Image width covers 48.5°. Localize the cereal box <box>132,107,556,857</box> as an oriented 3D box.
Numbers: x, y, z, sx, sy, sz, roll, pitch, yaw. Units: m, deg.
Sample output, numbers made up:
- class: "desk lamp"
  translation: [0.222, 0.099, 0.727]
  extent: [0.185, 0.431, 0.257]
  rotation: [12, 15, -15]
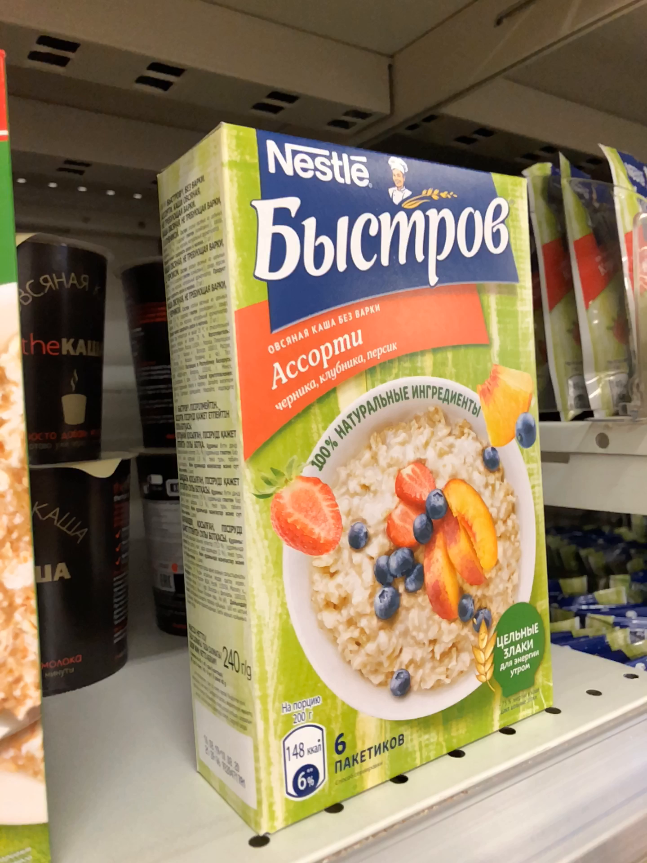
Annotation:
- class: "cereal box"
  translation: [0.013, 0.010, 0.248]
  extent: [0.130, 0.200, 0.050]
  rotation: [-5, 2, -34]
